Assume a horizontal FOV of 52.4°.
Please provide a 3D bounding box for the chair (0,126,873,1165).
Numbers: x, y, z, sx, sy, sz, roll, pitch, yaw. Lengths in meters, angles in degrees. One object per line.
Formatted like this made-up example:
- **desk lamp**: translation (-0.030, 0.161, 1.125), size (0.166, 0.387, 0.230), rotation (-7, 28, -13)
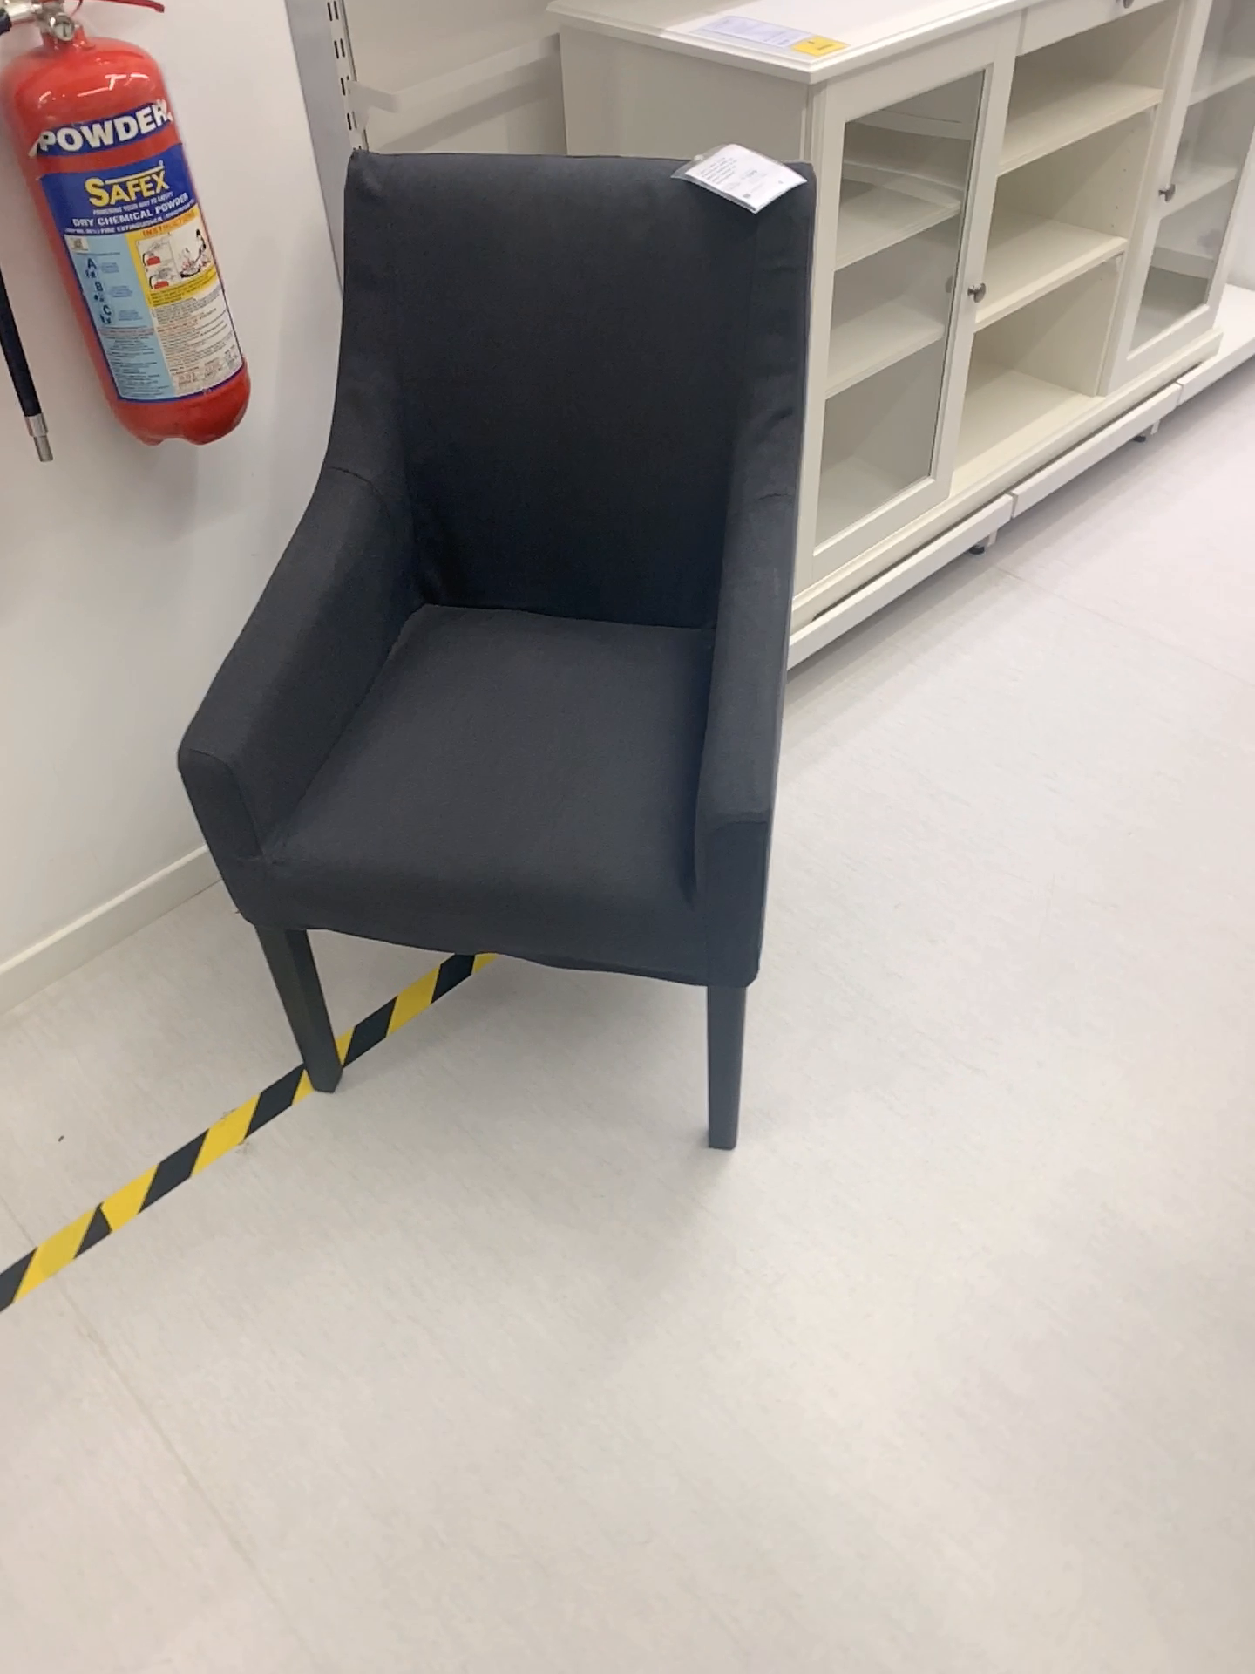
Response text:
- **chair**: translation (-0.097, -0.195, 1.445), size (0.610, 0.917, 0.632), rotation (7, 46, 10)
